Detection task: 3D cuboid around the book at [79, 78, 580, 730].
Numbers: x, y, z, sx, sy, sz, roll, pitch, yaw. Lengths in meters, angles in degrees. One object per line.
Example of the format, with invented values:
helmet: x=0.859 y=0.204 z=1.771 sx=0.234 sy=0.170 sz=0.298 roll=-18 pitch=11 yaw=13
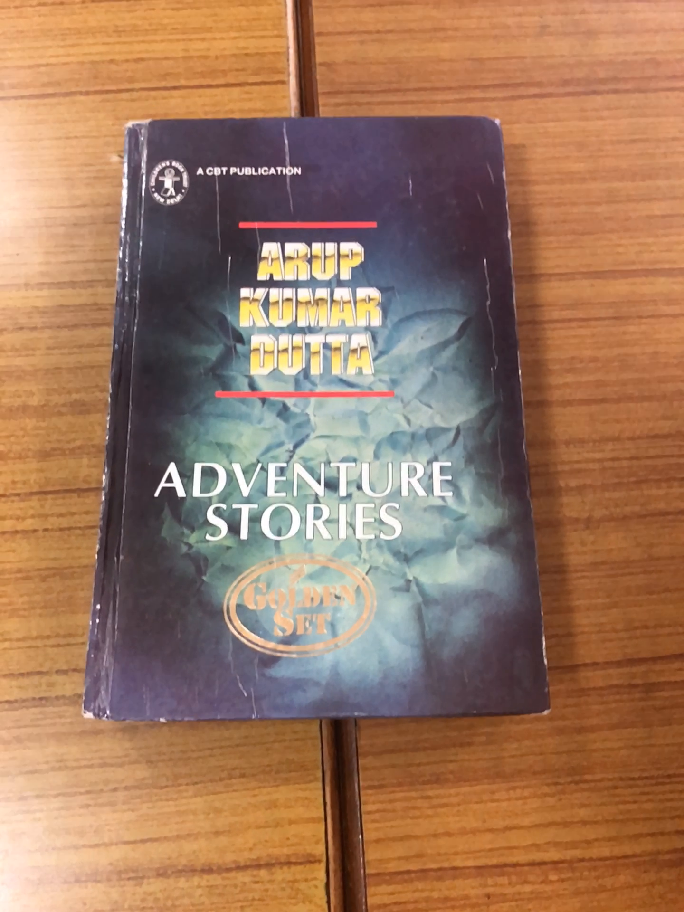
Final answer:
book: x=-0.006 y=-0.024 z=0.265 sx=0.145 sy=0.036 sz=0.218 roll=-1 pitch=76 yaw=-2
